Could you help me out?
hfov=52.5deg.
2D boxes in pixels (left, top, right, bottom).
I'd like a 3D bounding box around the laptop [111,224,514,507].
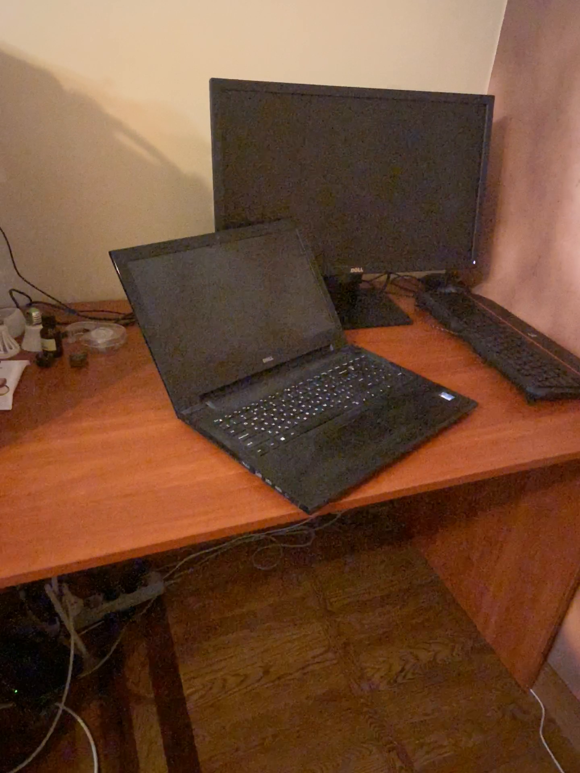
[{"bbox_3d":[0.020,-0.075,0.821,0.357,0.181,0.393,-22,38,-39],"label":"laptop"}]
